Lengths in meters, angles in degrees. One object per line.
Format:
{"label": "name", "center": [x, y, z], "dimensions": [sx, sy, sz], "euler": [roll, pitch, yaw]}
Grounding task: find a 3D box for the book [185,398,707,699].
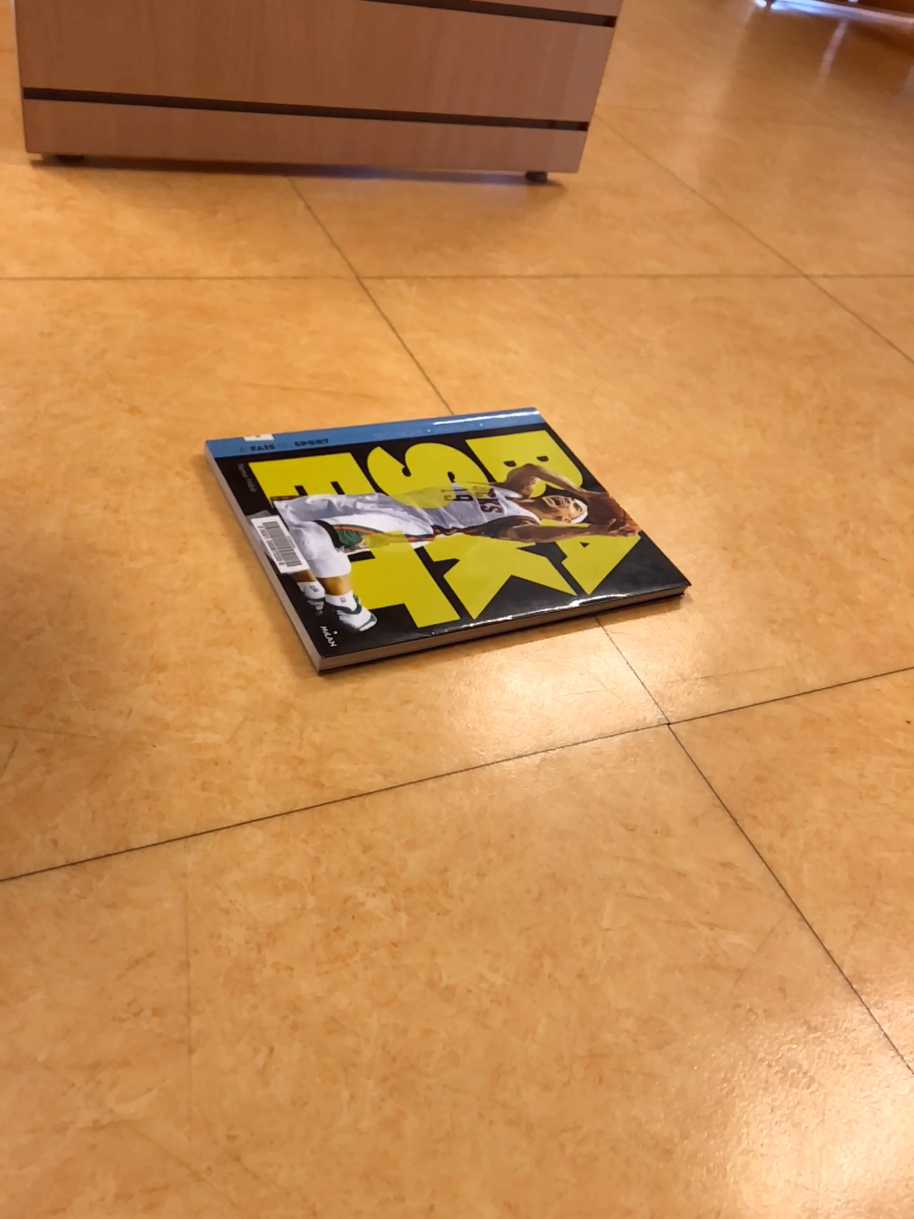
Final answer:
{"label": "book", "center": [-0.009, -0.052, 0.590], "dimensions": [0.245, 0.020, 0.200], "euler": [-11, 48, -28]}
